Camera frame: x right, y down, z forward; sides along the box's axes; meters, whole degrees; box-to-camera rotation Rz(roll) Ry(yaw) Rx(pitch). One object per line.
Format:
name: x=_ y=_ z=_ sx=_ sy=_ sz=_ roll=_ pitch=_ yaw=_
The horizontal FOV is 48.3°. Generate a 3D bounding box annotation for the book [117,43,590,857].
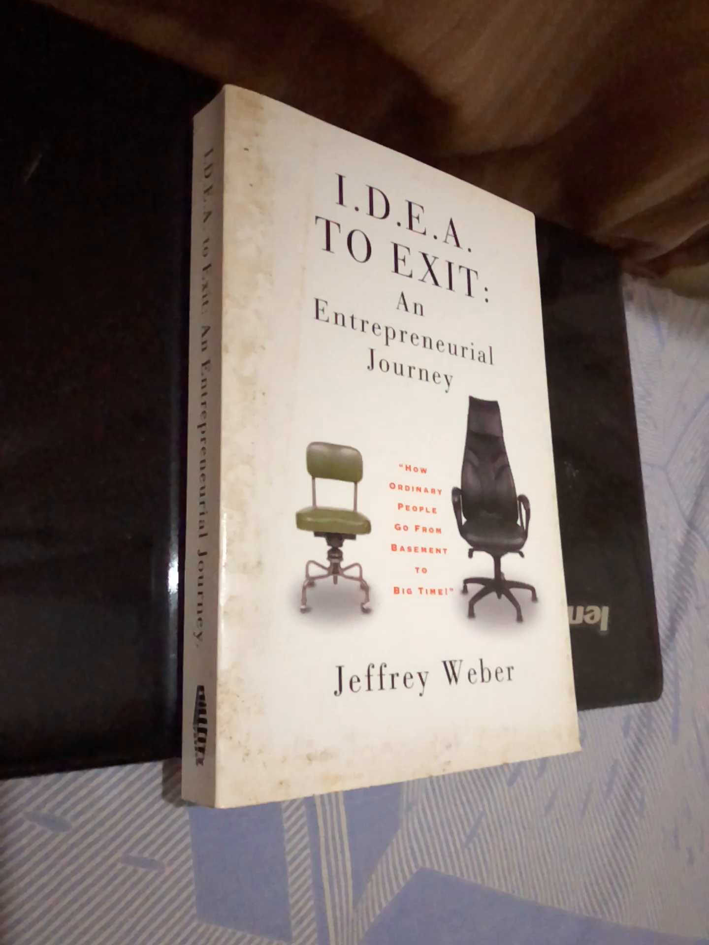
book: x=0.005 y=-0.010 z=0.280 sx=0.161 sy=0.030 sz=0.240 roll=9 pitch=70 yaw=-35
